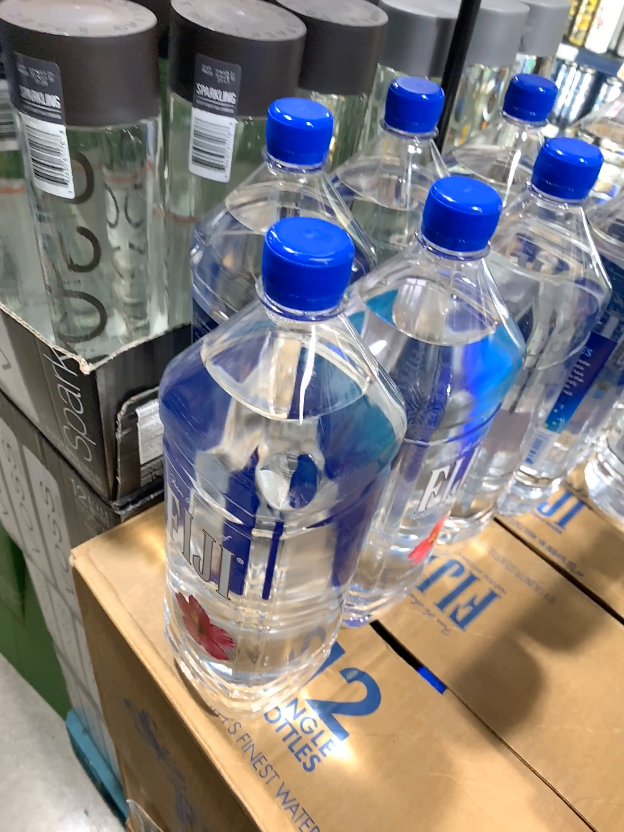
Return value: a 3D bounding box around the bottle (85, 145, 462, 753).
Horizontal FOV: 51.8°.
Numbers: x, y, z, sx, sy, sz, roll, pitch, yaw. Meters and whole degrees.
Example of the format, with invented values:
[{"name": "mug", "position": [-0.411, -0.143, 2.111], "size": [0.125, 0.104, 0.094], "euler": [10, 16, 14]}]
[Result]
[{"name": "bottle", "position": [-0.030, 0.039, 0.295], "size": [0.080, 0.278, 0.090], "euler": [-25, 53, -32]}]
